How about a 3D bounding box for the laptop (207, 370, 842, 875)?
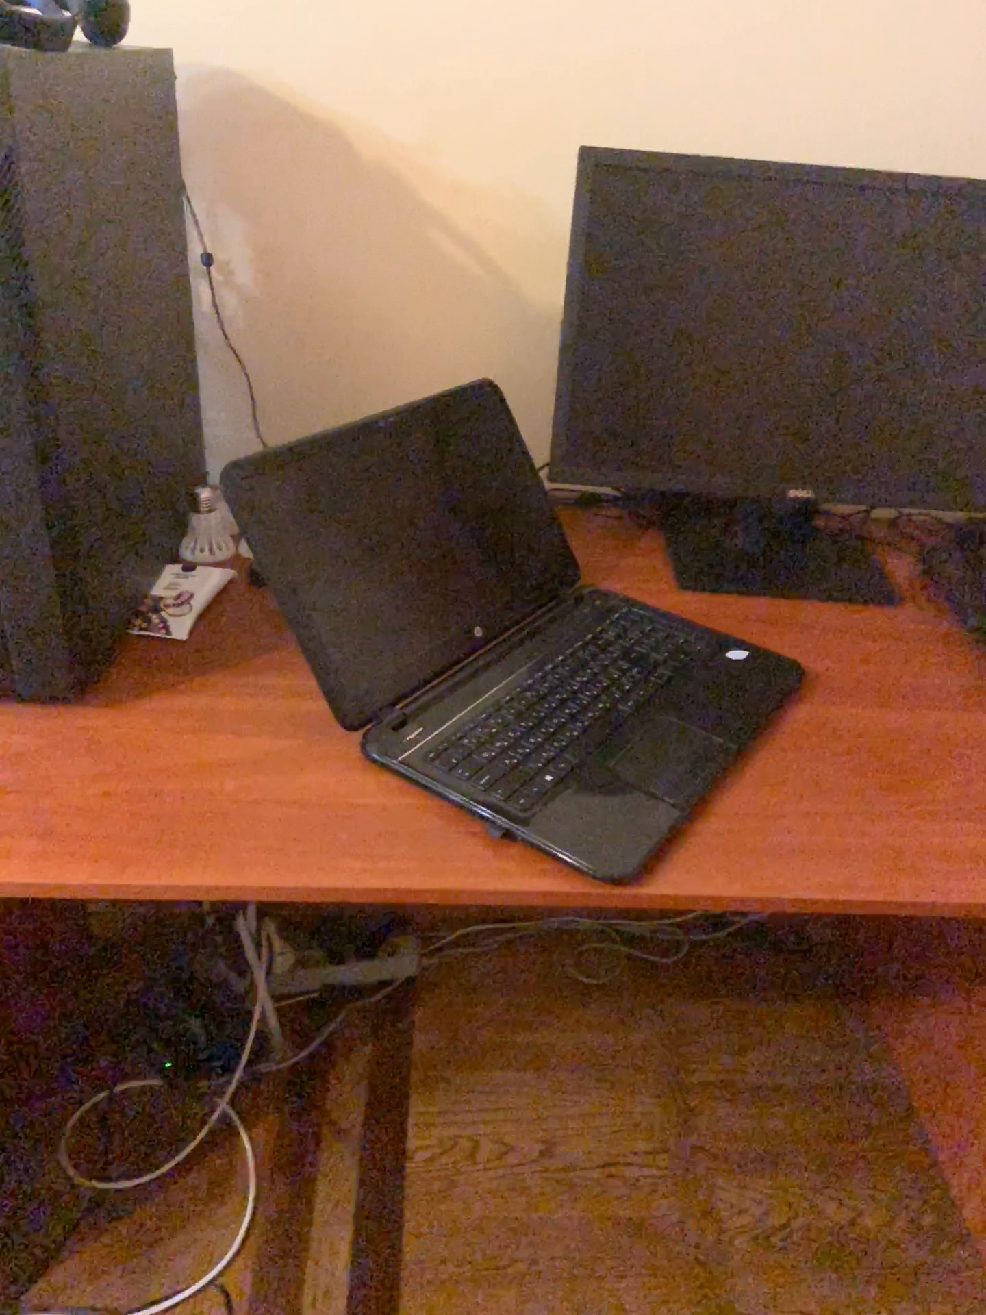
[{"bbox_3d":[0.032,-0.067,0.795,0.358,0.168,0.333,25,36,26],"label":"laptop"}]
